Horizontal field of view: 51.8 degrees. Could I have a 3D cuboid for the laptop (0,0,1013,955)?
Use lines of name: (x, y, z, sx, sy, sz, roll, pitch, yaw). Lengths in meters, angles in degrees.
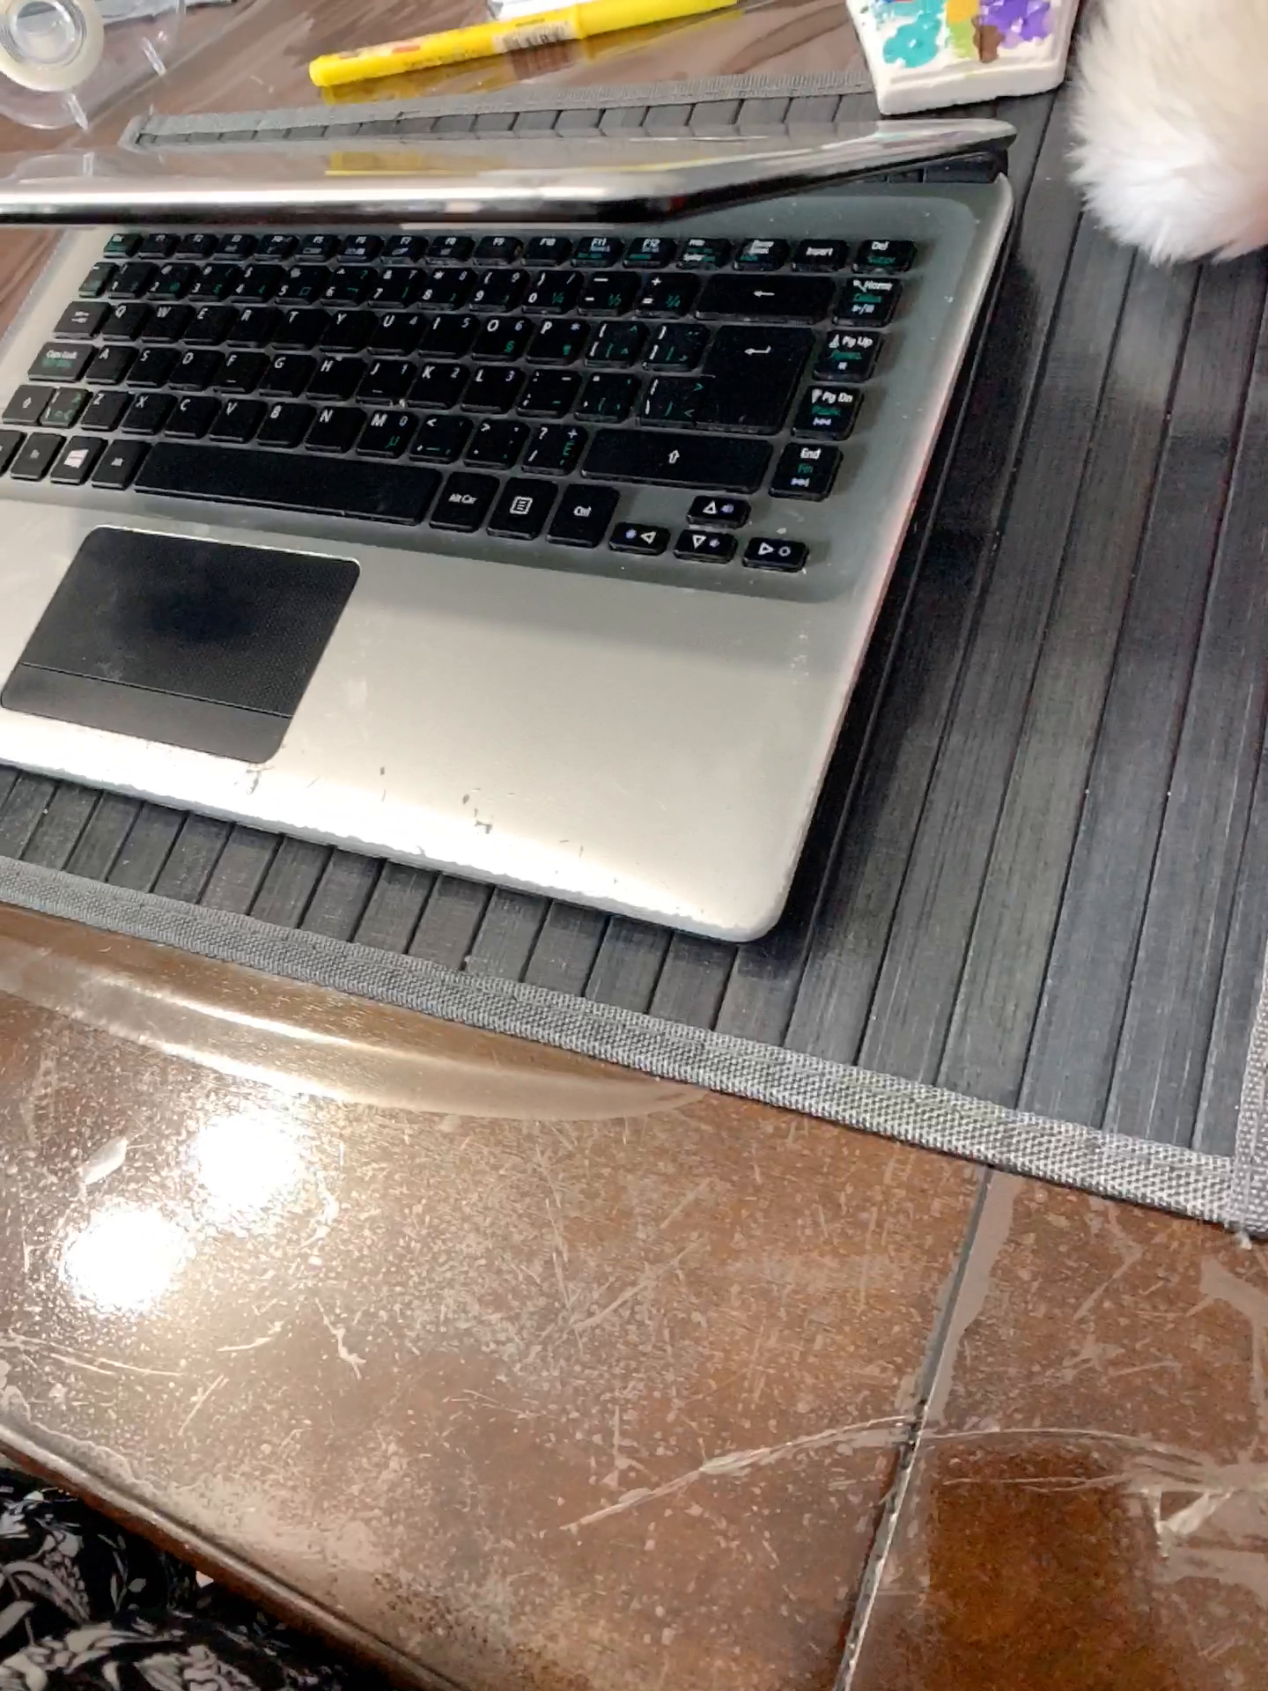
laptop: (-0.108, -0.145, 0.334, 0.345, 0.145, 0.236, 12, 70, 24)
